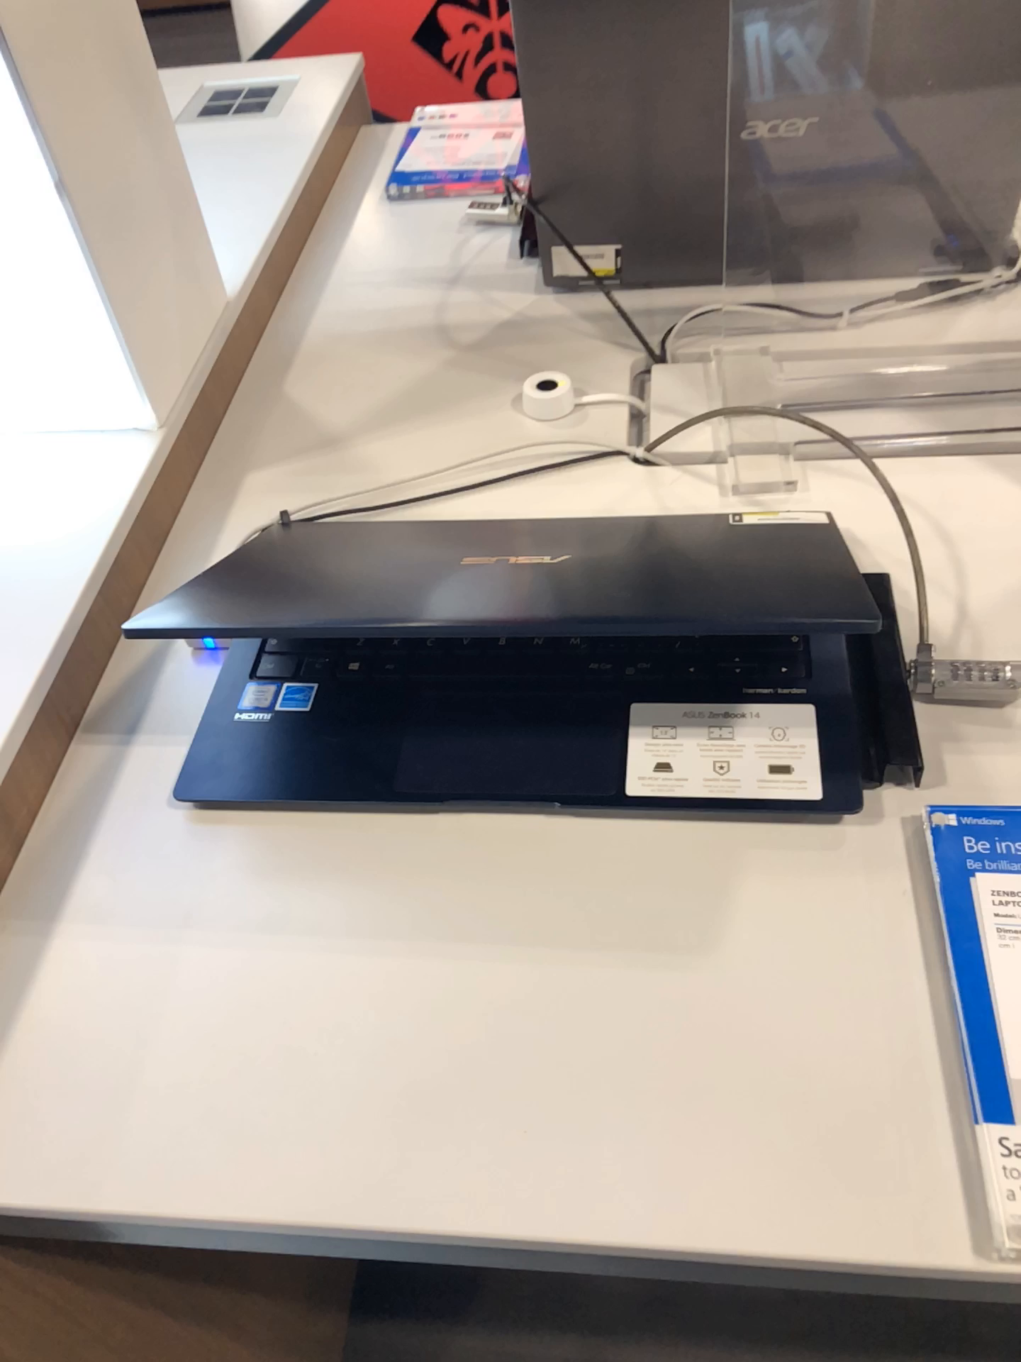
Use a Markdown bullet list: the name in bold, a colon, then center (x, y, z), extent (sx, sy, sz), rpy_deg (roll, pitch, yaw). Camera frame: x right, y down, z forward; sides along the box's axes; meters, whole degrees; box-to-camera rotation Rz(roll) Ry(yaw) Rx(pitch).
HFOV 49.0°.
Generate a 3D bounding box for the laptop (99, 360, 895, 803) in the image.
- **laptop**: center (0.004, -0.054, 0.536), extent (0.310, 0.095, 0.203), rpy_deg (1, 45, 9)
